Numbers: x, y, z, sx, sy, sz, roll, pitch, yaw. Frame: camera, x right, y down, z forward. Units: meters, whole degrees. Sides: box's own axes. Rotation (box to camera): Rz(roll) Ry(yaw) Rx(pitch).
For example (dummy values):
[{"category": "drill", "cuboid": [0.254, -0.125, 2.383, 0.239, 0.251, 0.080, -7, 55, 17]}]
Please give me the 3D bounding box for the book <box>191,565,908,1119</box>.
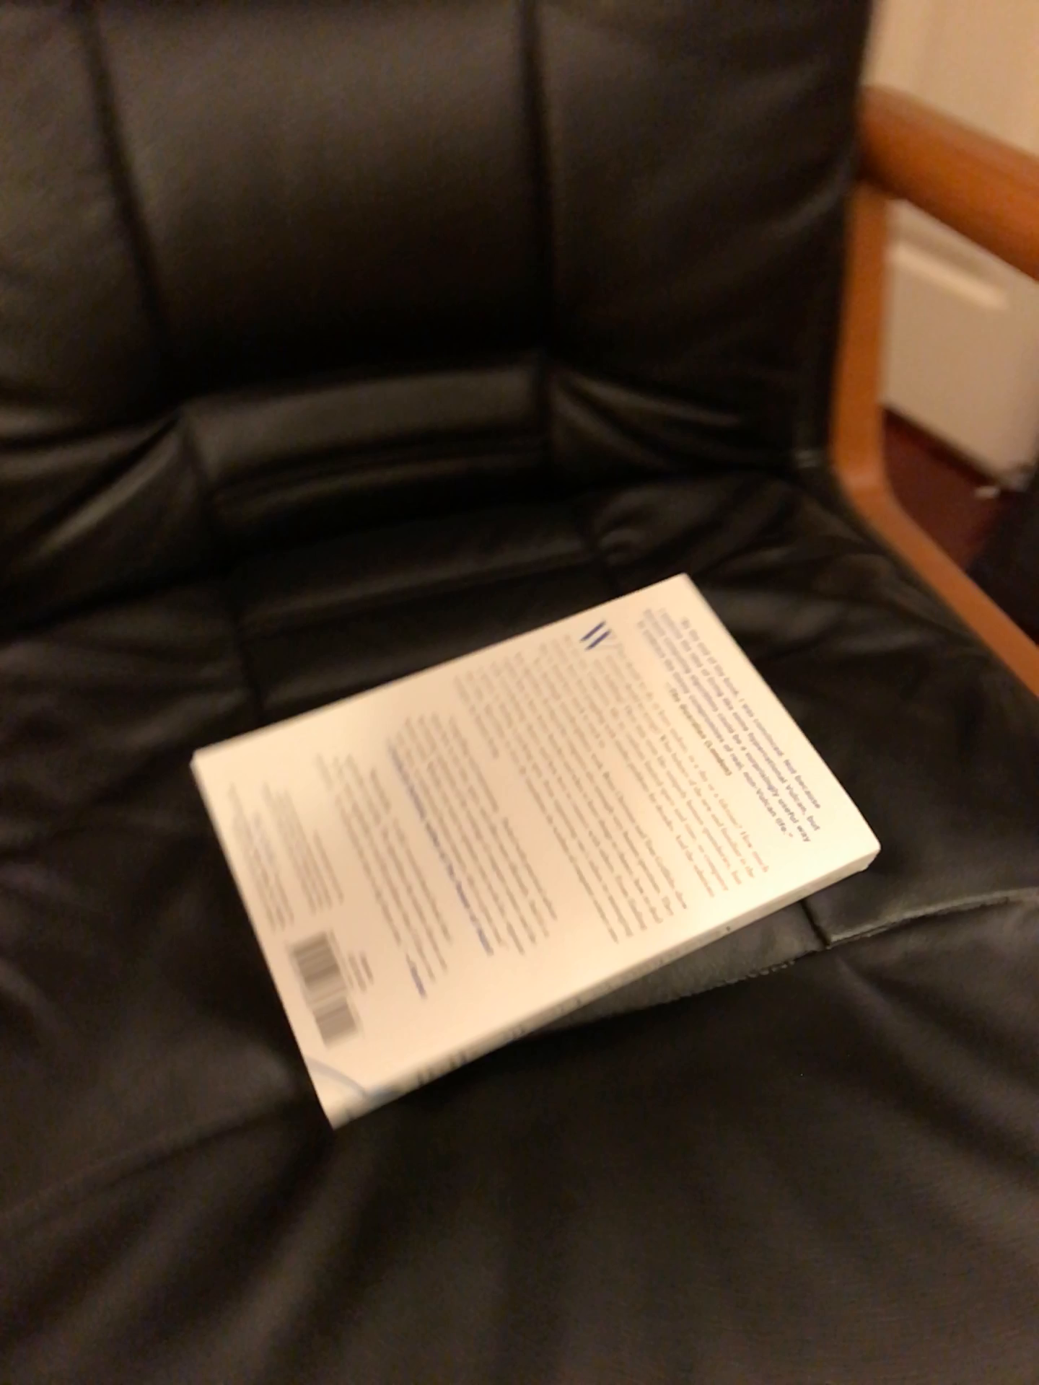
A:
[{"category": "book", "cuboid": [0.009, 0.046, 0.476, 0.250, 0.020, 0.161, -20, 56, -16]}]
